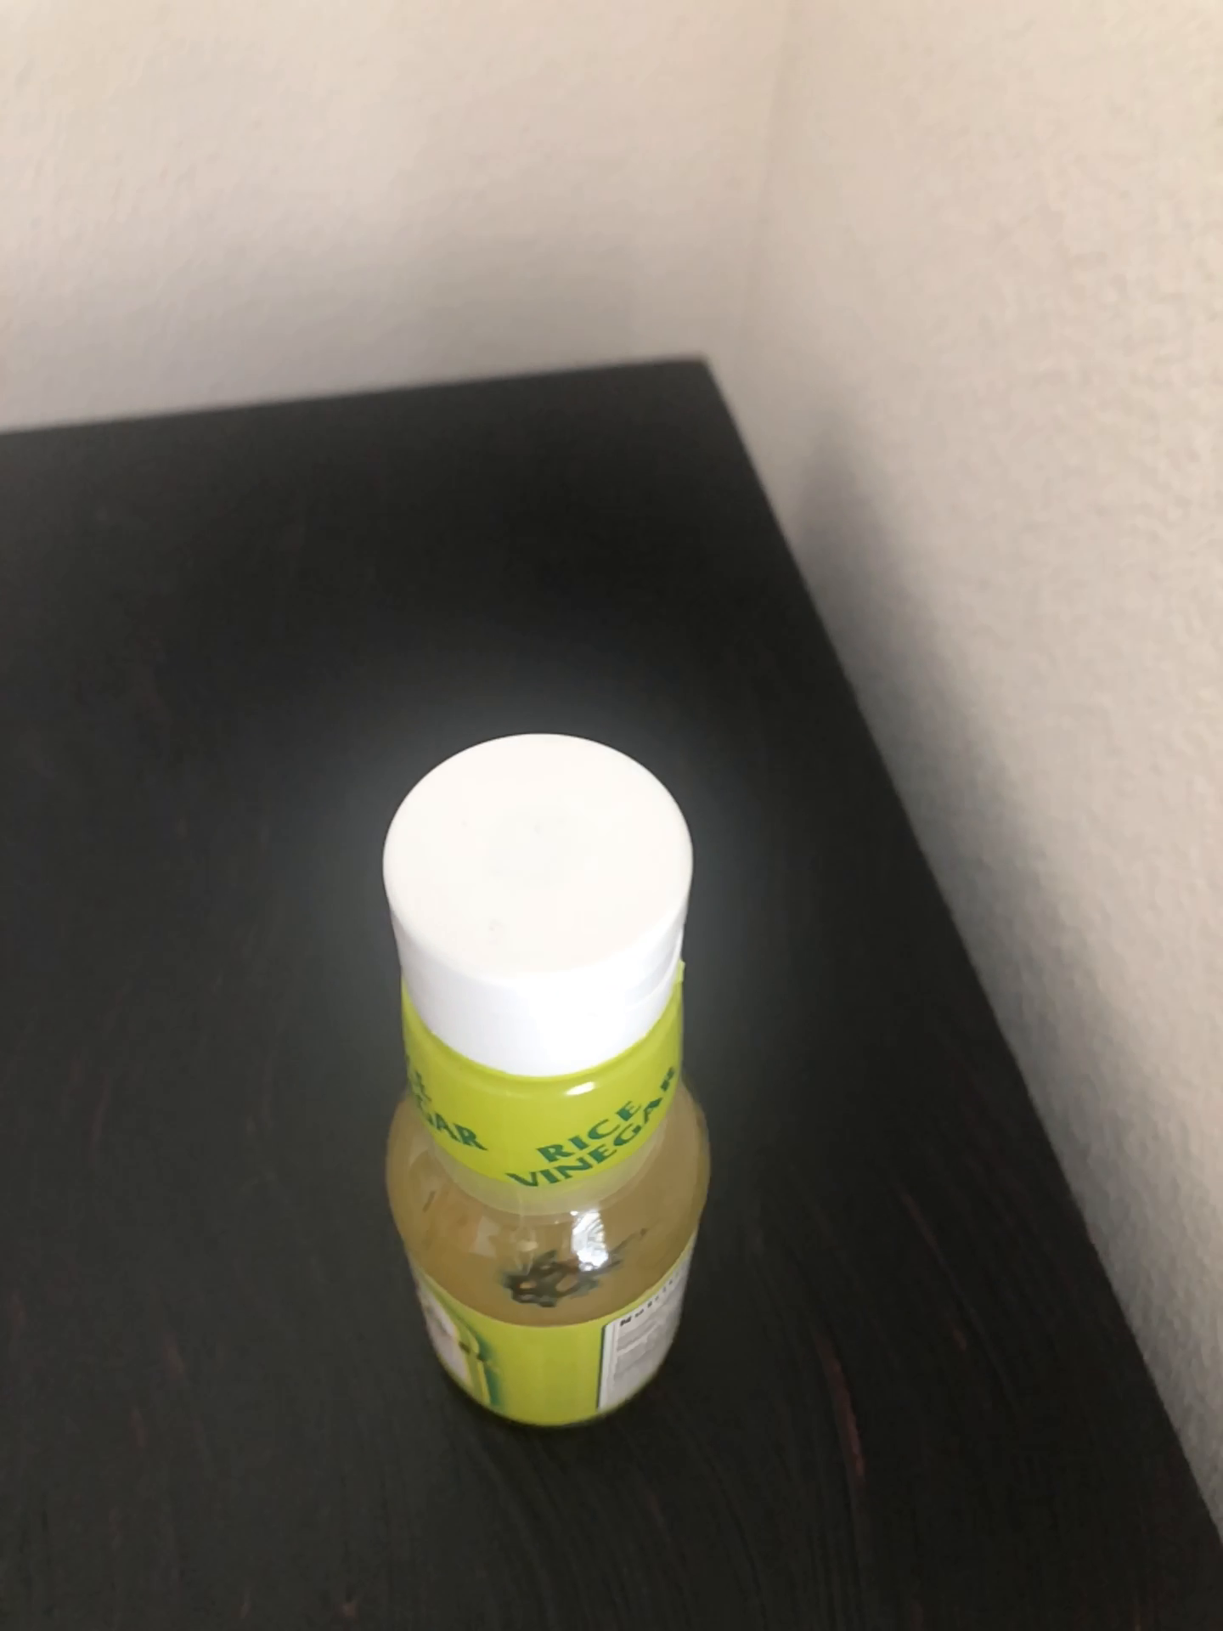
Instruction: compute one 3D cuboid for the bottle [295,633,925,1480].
[{"bbox_3d":[-0.006,0.062,0.253,0.070,0.199,0.070,2,53,-2],"label":"bottle"}]
